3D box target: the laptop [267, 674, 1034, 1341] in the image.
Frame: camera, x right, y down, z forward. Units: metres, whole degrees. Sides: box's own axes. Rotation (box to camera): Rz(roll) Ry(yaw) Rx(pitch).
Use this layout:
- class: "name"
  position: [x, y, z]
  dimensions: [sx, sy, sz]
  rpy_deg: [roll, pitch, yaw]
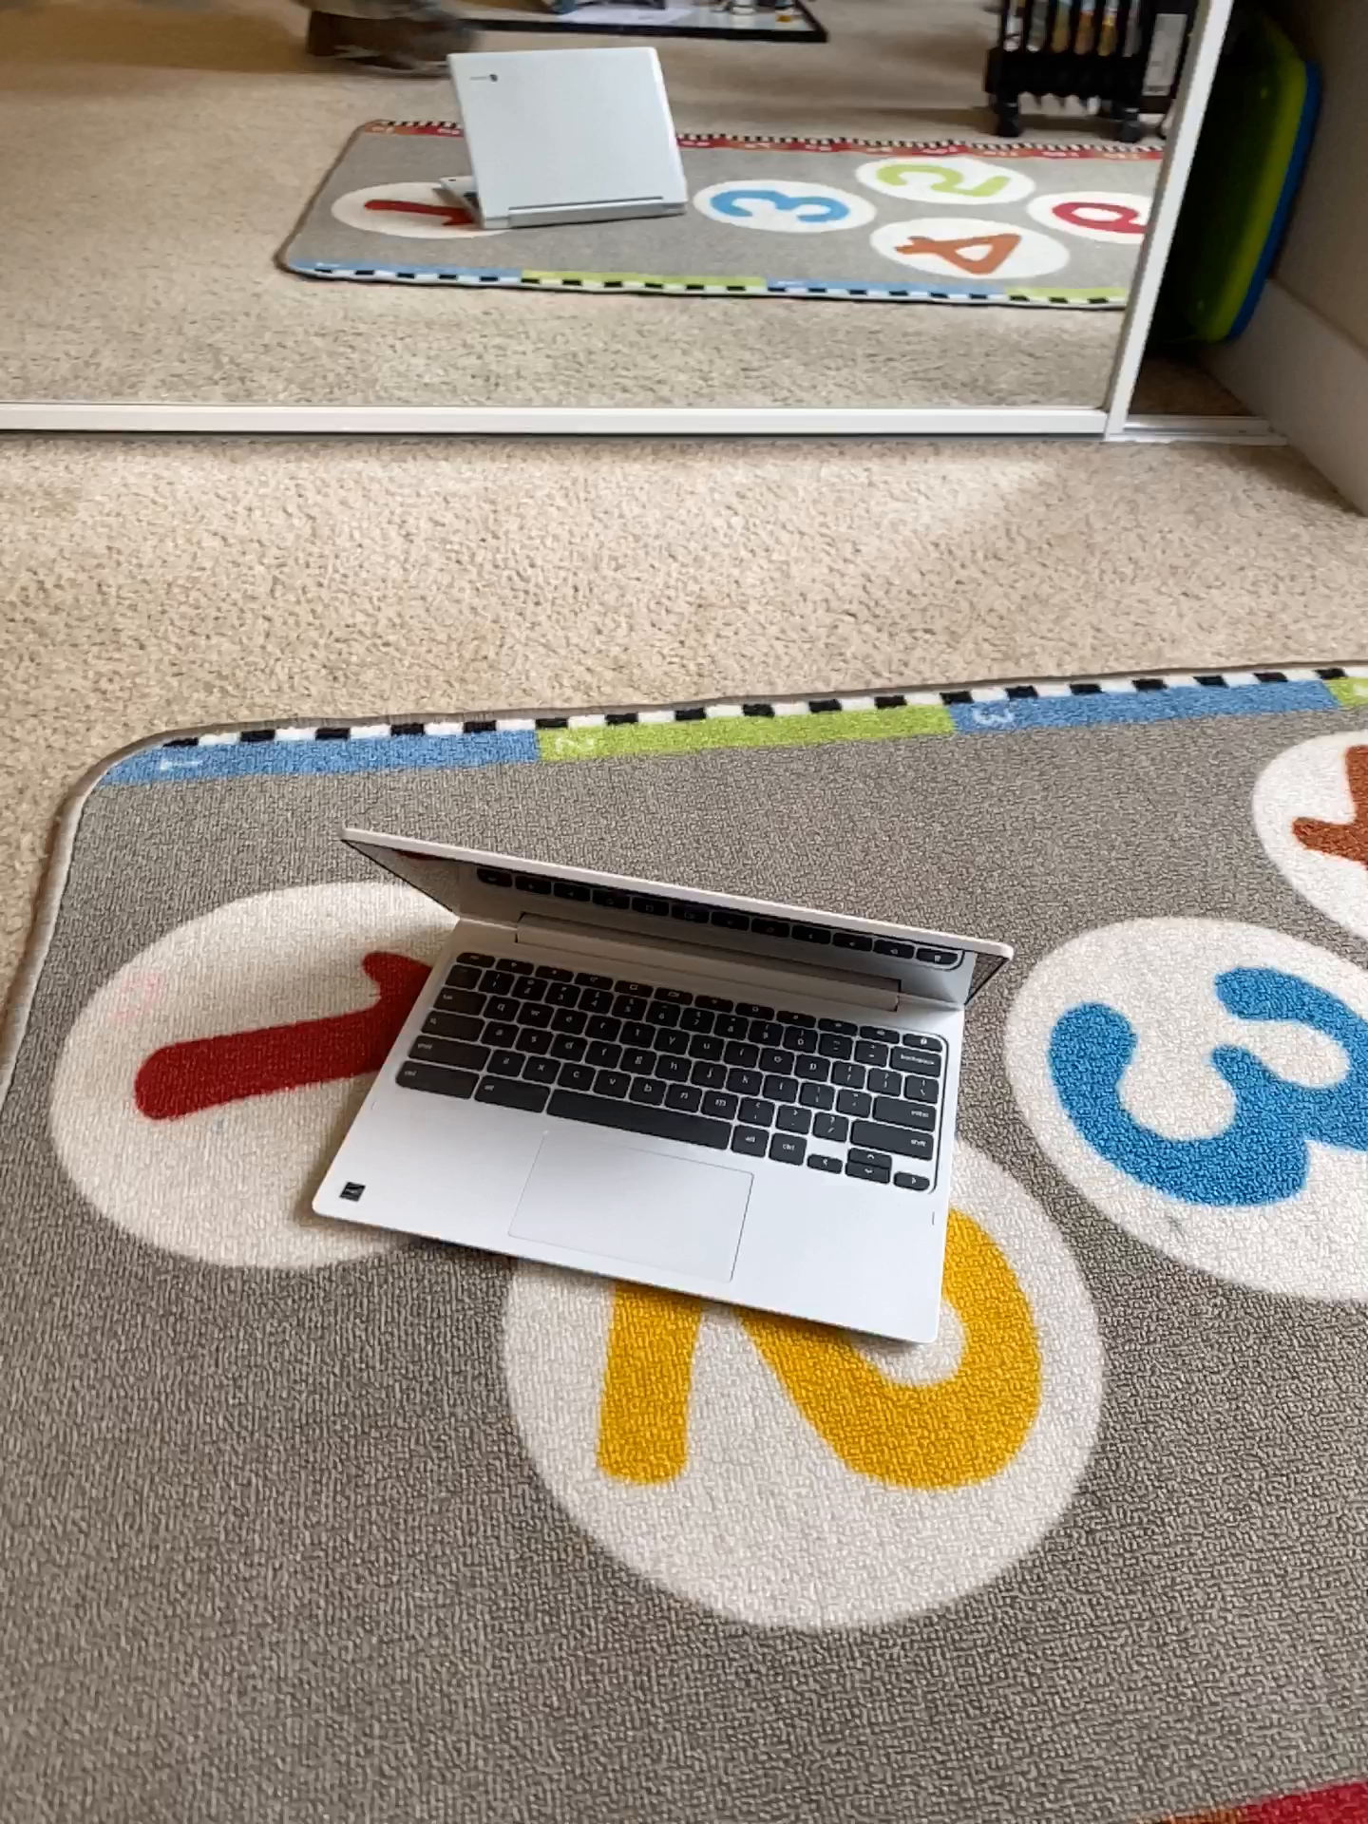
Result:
- class: "laptop"
  position: [-0.002, 0.035, 0.670]
  dimensions: [0.298, 0.162, 0.217]
  rpy_deg: [11, 41, 7]
